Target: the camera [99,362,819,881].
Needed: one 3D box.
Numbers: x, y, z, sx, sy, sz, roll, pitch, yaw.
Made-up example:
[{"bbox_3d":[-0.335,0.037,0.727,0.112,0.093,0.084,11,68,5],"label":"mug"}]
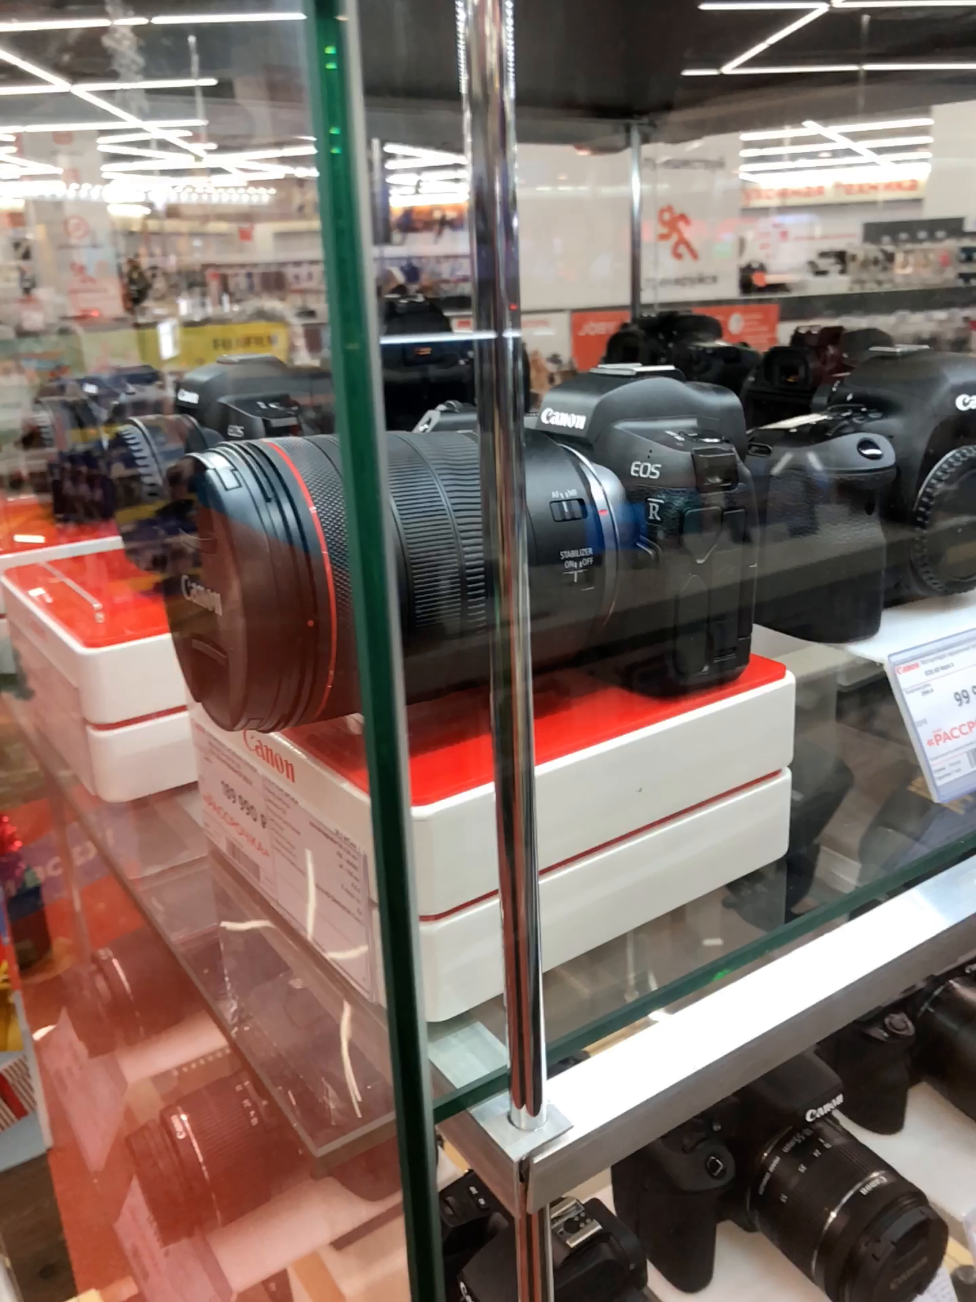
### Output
[{"bbox_3d":[-0.010,-0.030,0.361,0.184,0.110,0.140,-14,22,-31],"label":"camera"}]
